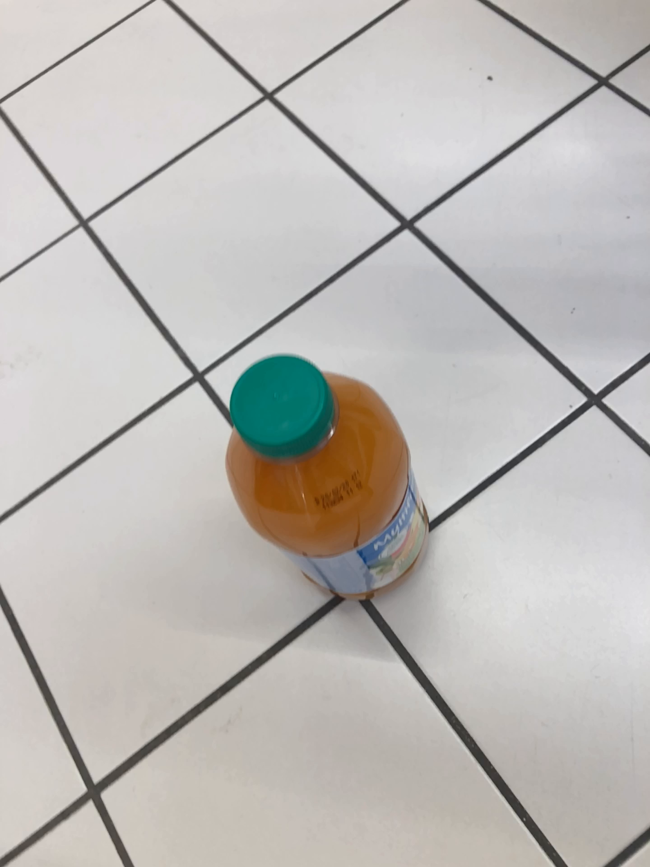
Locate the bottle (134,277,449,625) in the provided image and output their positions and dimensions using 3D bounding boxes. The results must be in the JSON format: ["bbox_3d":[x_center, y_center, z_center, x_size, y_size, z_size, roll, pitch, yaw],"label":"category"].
[{"bbox_3d":[0.004,0.024,0.376,0.100,0.209,0.100,-5,65,10],"label":"bottle"}]
